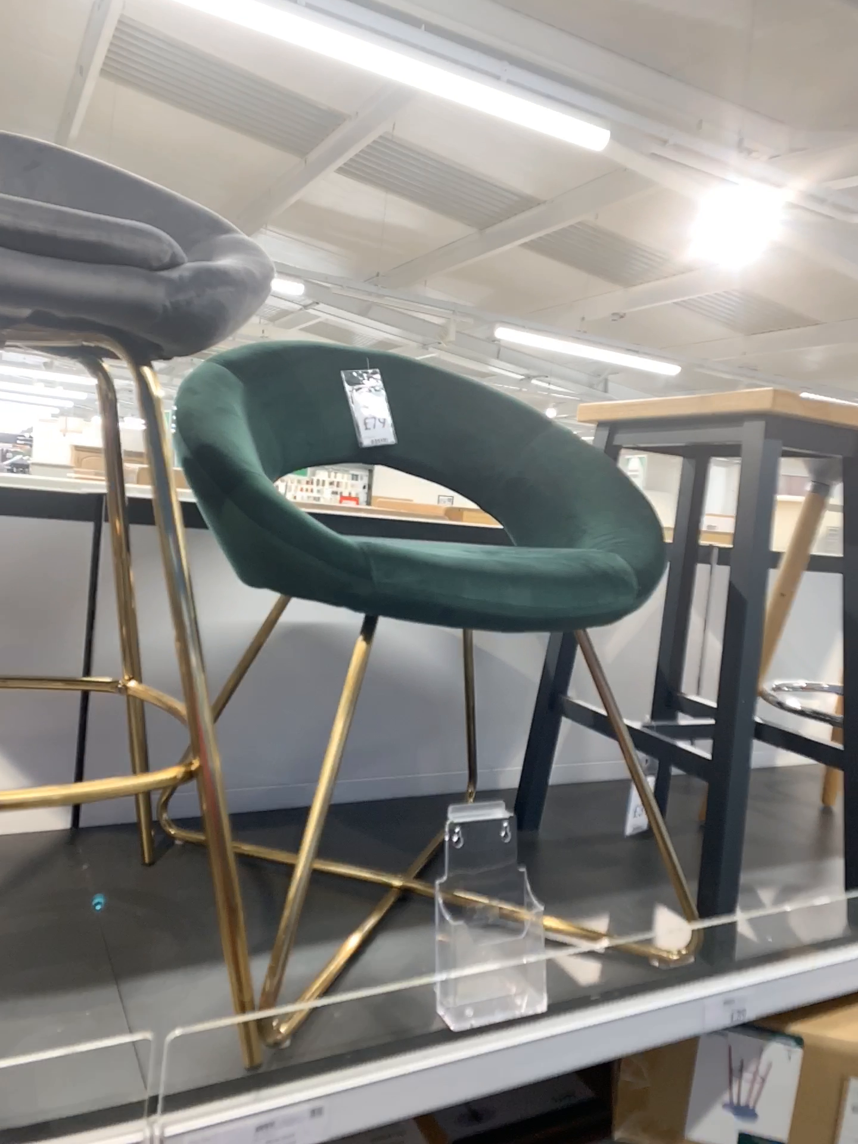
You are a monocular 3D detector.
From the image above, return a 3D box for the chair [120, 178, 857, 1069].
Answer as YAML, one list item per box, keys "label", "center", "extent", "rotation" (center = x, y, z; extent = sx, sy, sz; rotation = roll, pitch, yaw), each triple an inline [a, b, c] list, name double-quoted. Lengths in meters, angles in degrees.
- label: "chair"
  center: [0.008, 0.028, 1.120]
  extent: [0.634, 0.699, 0.670]
  rotation: [4, 4, -27]
